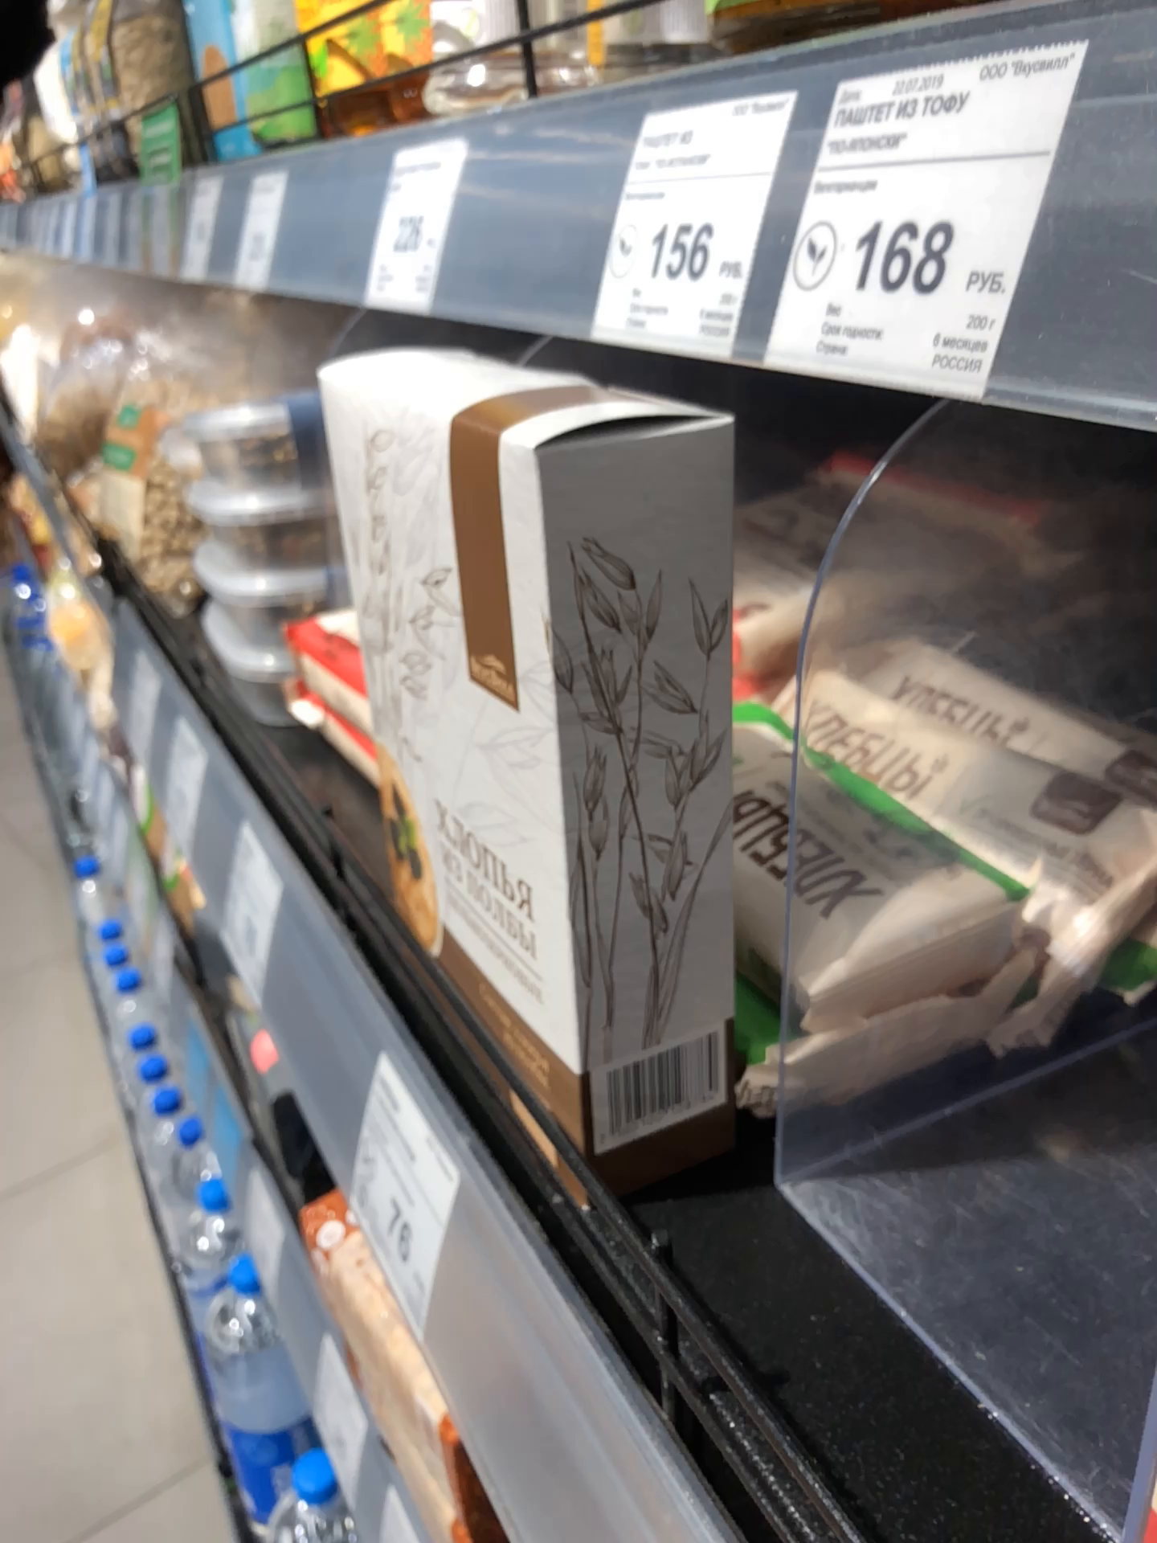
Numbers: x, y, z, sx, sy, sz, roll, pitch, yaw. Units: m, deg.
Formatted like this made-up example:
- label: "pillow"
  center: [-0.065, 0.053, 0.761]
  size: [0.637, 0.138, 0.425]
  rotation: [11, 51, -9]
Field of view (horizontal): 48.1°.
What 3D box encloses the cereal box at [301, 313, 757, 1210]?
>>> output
- label: "cereal box"
  center: [-0.016, -0.014, 0.341]
  size: [0.050, 0.189, 0.151]
  rotation: [-14, 26, -22]
